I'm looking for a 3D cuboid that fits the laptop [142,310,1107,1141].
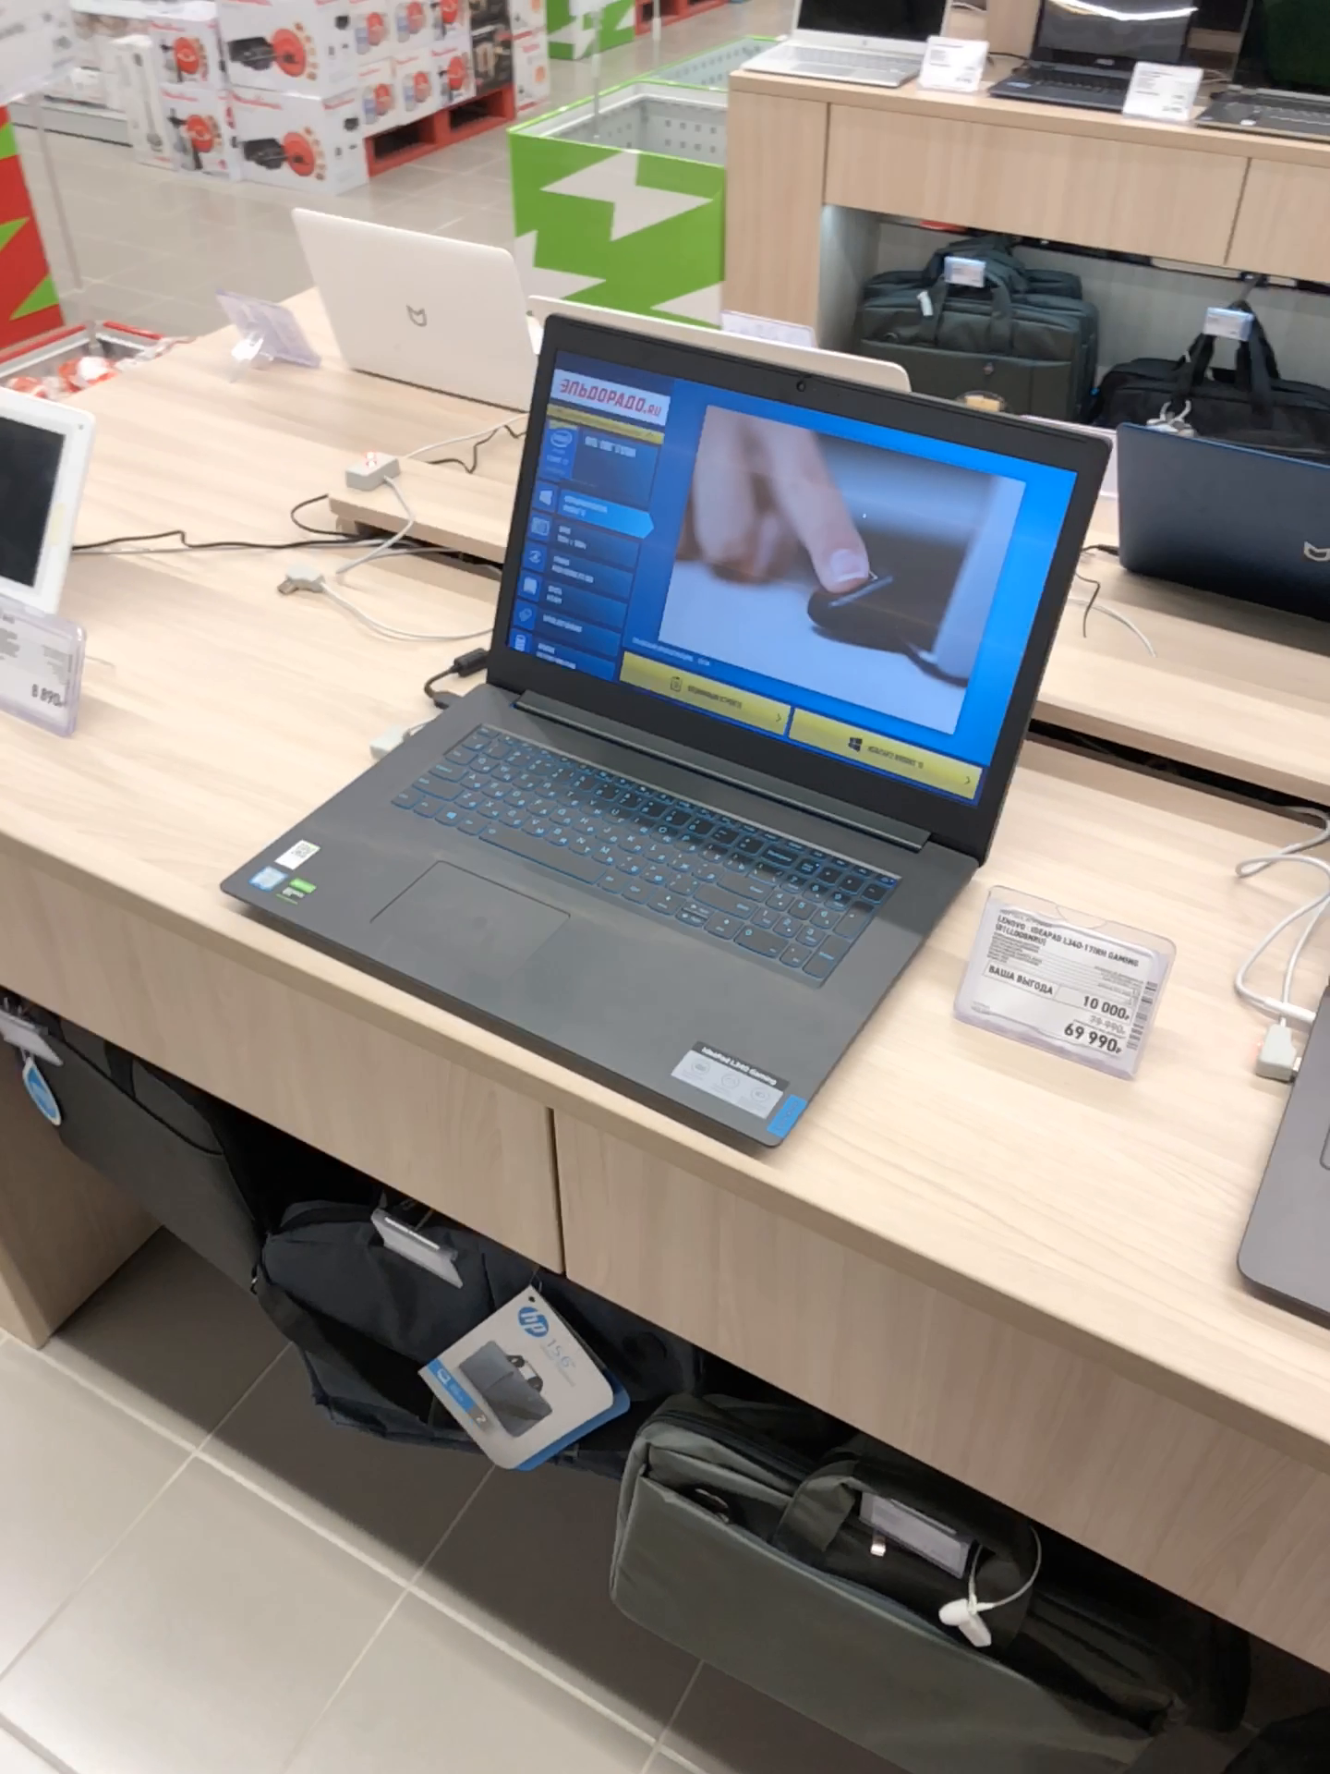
[{"bbox_3d":[-0.008,-0.134,0.892,0.395,0.242,0.382,22,45,24],"label":"laptop"}]
